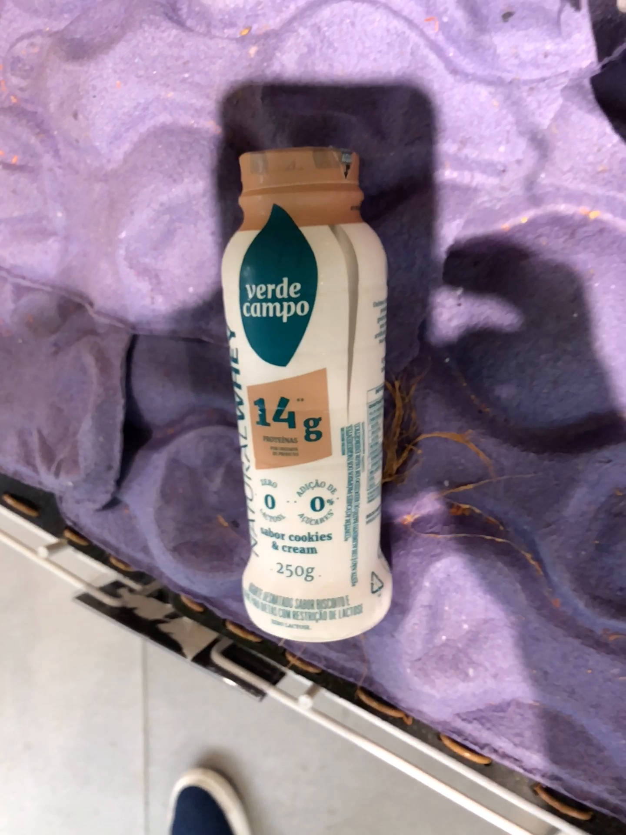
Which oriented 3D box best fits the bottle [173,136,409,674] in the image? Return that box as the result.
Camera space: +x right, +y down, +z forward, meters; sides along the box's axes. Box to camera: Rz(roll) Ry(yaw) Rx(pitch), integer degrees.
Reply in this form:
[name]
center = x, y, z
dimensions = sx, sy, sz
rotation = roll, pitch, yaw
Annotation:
[bottle]
center = -0.002, -0.002, 0.230
dimensions = 0.060, 0.040, 0.160
rotation = 1, 105, 15
